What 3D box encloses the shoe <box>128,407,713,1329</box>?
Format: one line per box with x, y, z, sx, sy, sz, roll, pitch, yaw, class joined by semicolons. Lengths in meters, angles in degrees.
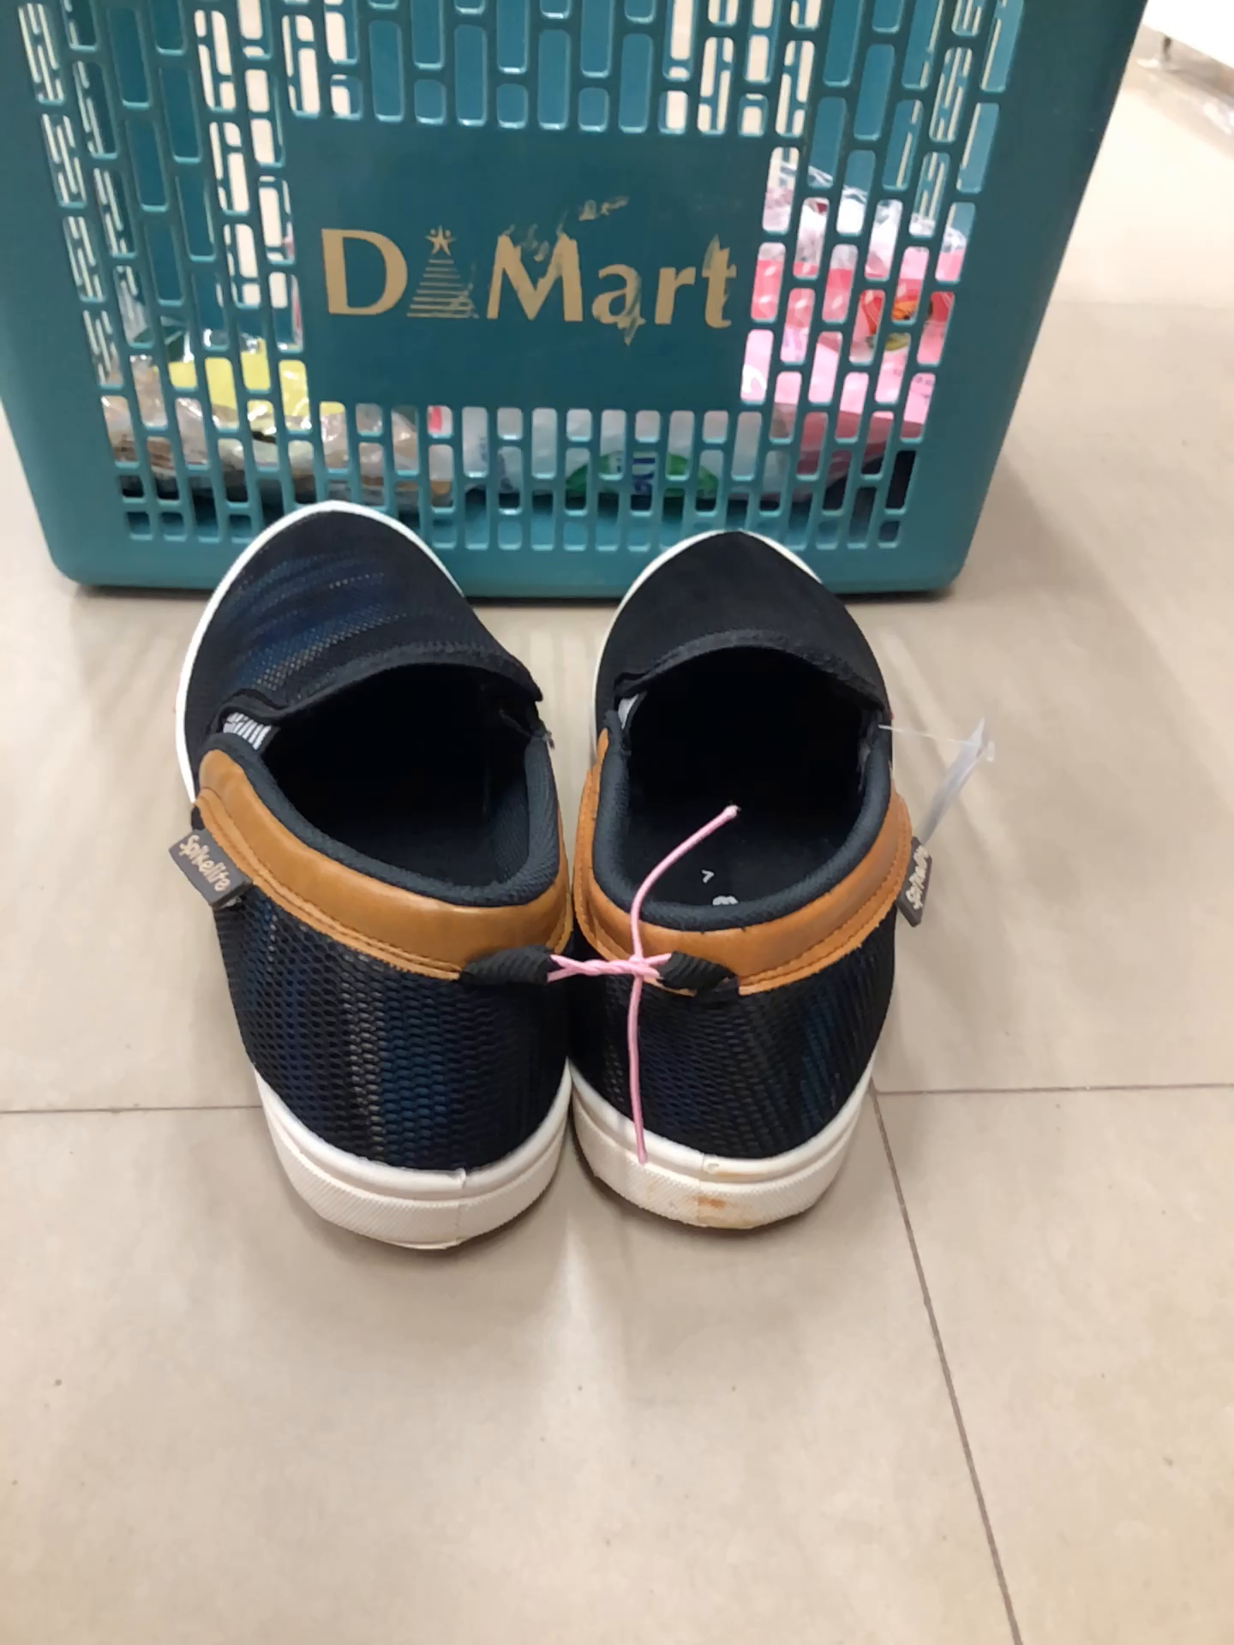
-0.067;-0.011;0.371;0.105;0.107;0.240;-8;40;-14;shoe

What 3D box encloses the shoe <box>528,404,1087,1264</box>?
0.040;-0.016;0.384;0.105;0.107;0.240;4;39;1;shoe
